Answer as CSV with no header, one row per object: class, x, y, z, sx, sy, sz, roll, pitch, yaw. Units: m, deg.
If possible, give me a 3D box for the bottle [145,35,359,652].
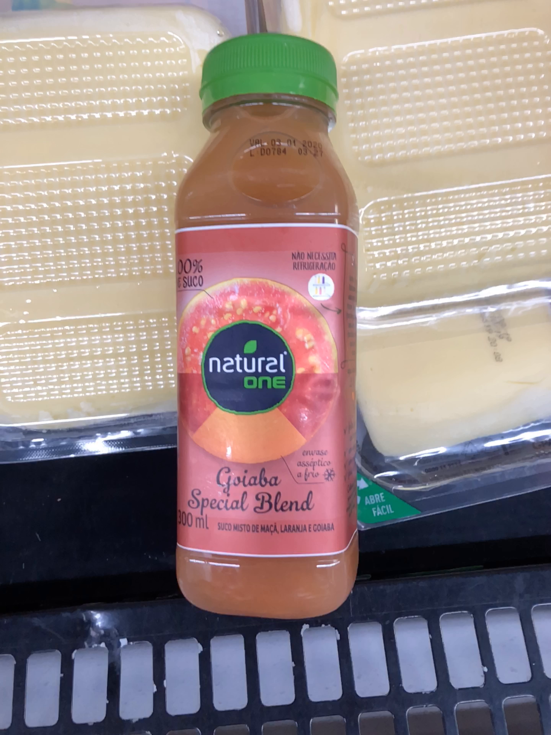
bottle,-0.006,-0.008,0.215,0.060,0.070,0.180,0,86,2
